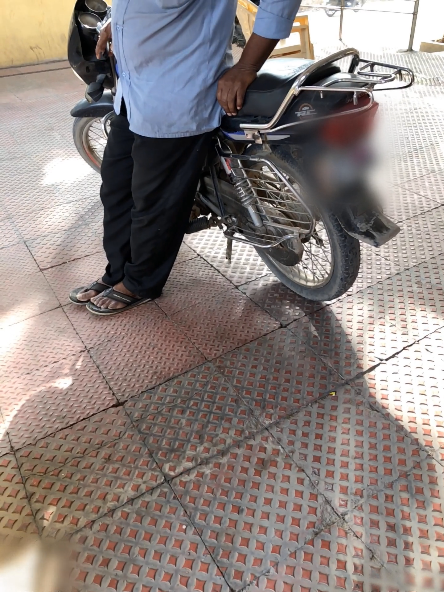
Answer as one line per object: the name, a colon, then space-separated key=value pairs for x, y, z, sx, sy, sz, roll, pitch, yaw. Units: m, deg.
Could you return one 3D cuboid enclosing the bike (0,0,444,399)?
bike: x=-0.065 y=-0.610 z=1.679 sx=0.820 sy=1.062 sz=1.302 roll=-25 pitch=43 yaw=-28
